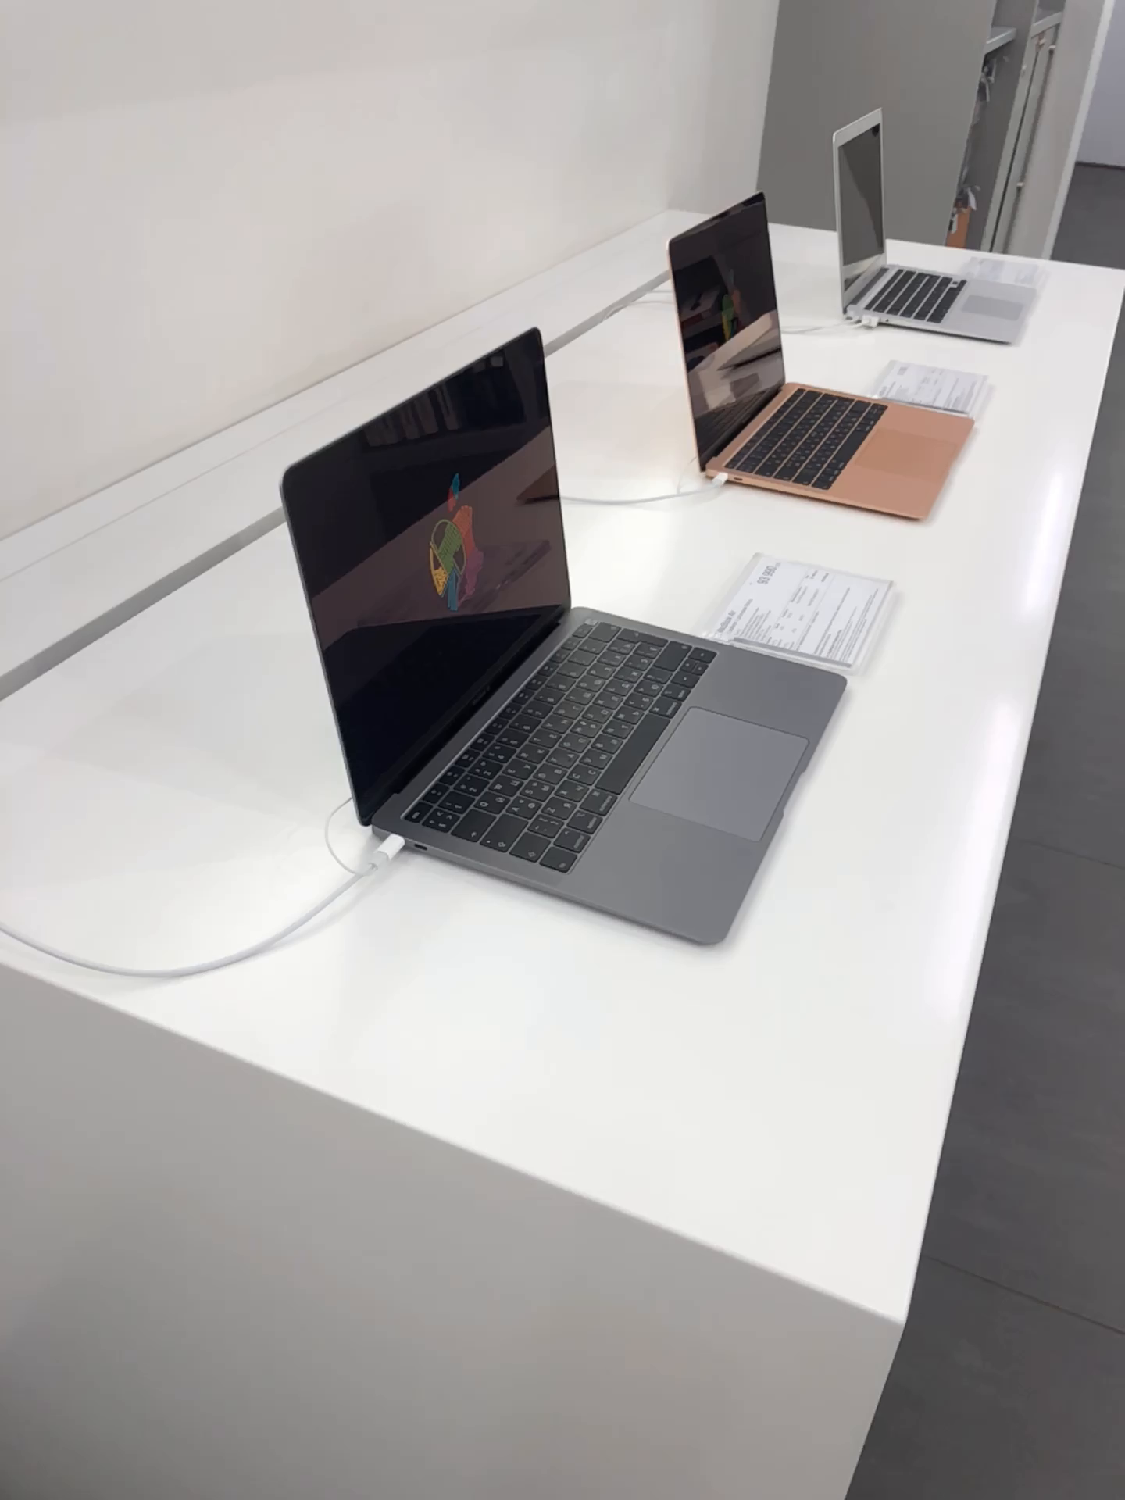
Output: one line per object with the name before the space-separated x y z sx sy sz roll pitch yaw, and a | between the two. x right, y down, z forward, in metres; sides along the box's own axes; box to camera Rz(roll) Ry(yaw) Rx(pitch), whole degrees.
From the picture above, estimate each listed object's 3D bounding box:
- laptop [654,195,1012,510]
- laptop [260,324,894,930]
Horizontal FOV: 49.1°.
laptop | 0.262 -0.396 1.181 0.260 0.184 0.294 16 36 19
laptop | 0.024 -0.094 0.717 0.250 0.194 0.286 16 35 16
